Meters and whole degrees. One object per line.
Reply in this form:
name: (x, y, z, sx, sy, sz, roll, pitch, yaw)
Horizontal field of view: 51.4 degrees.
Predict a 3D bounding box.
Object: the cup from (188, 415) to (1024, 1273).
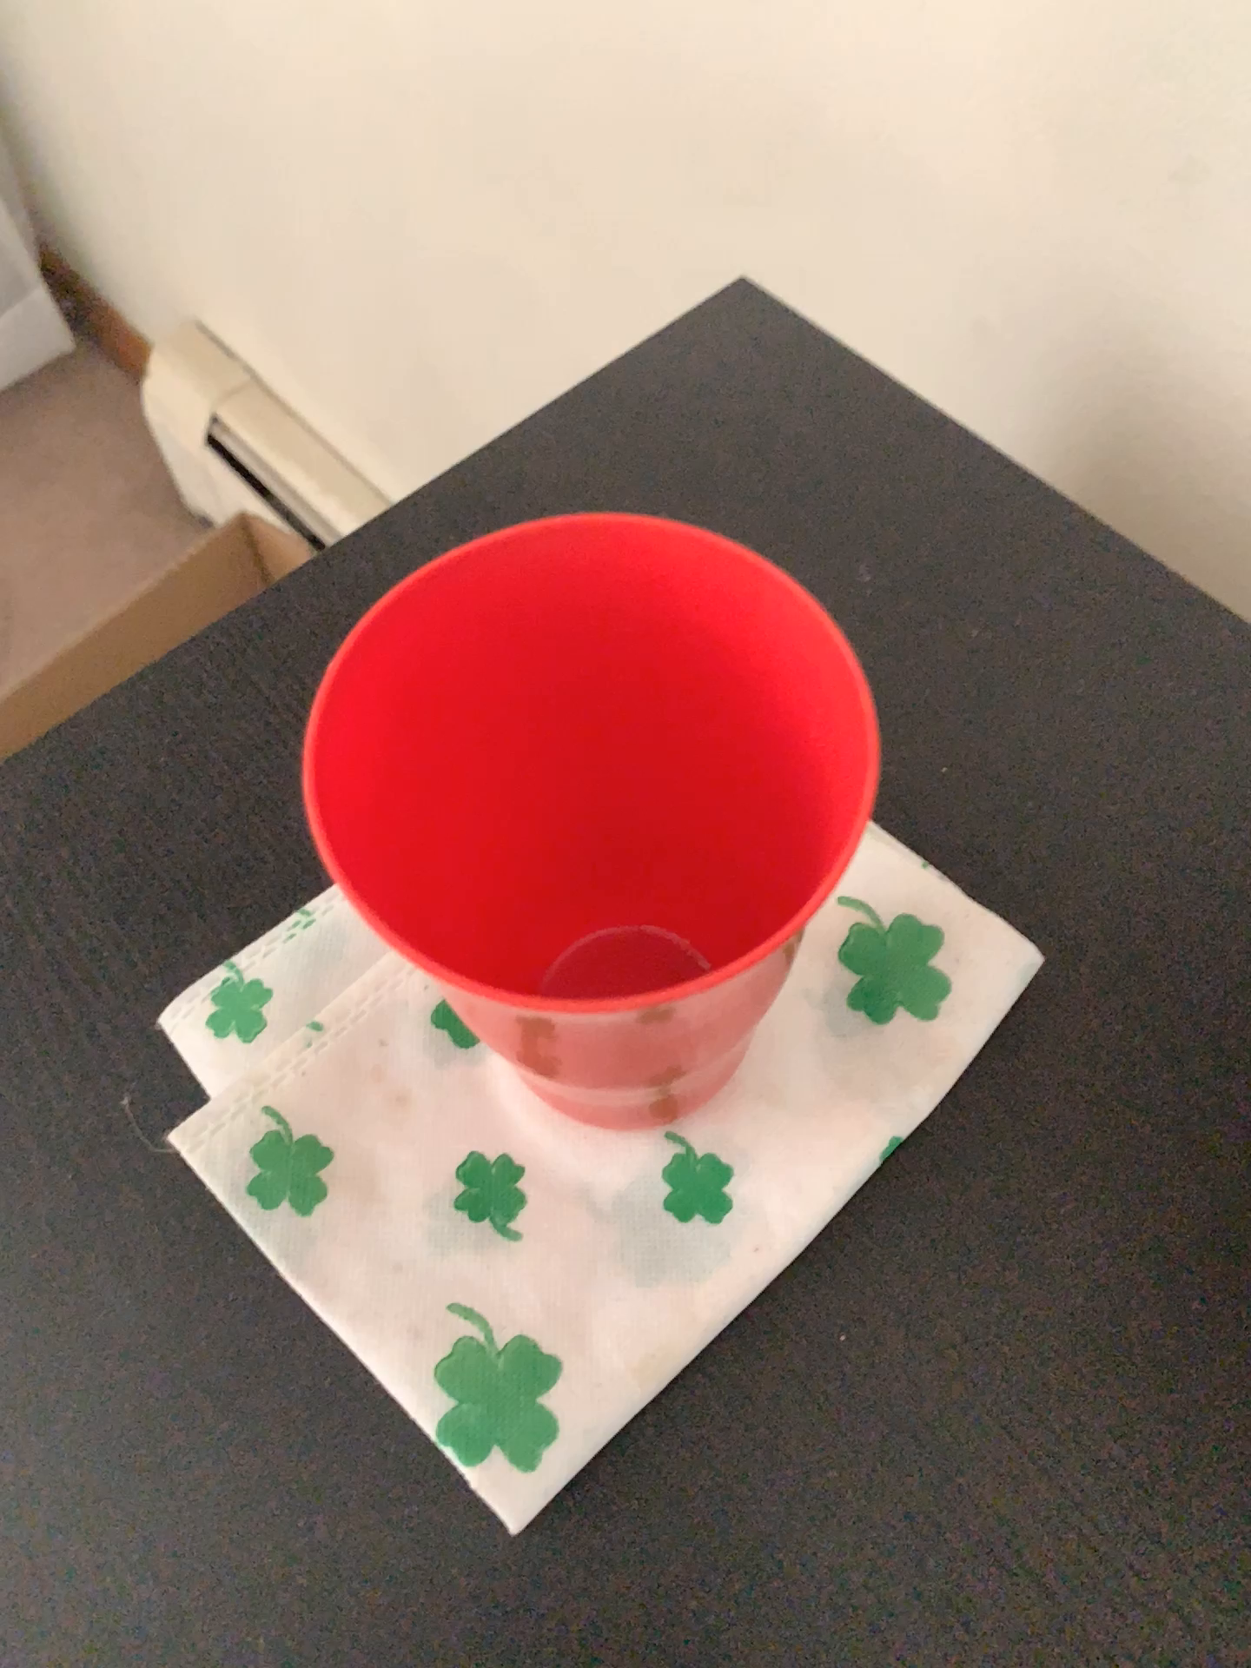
cup: (-0.004, 0.007, 0.210, 0.082, 0.091, 0.080, -1, 62, 1)
